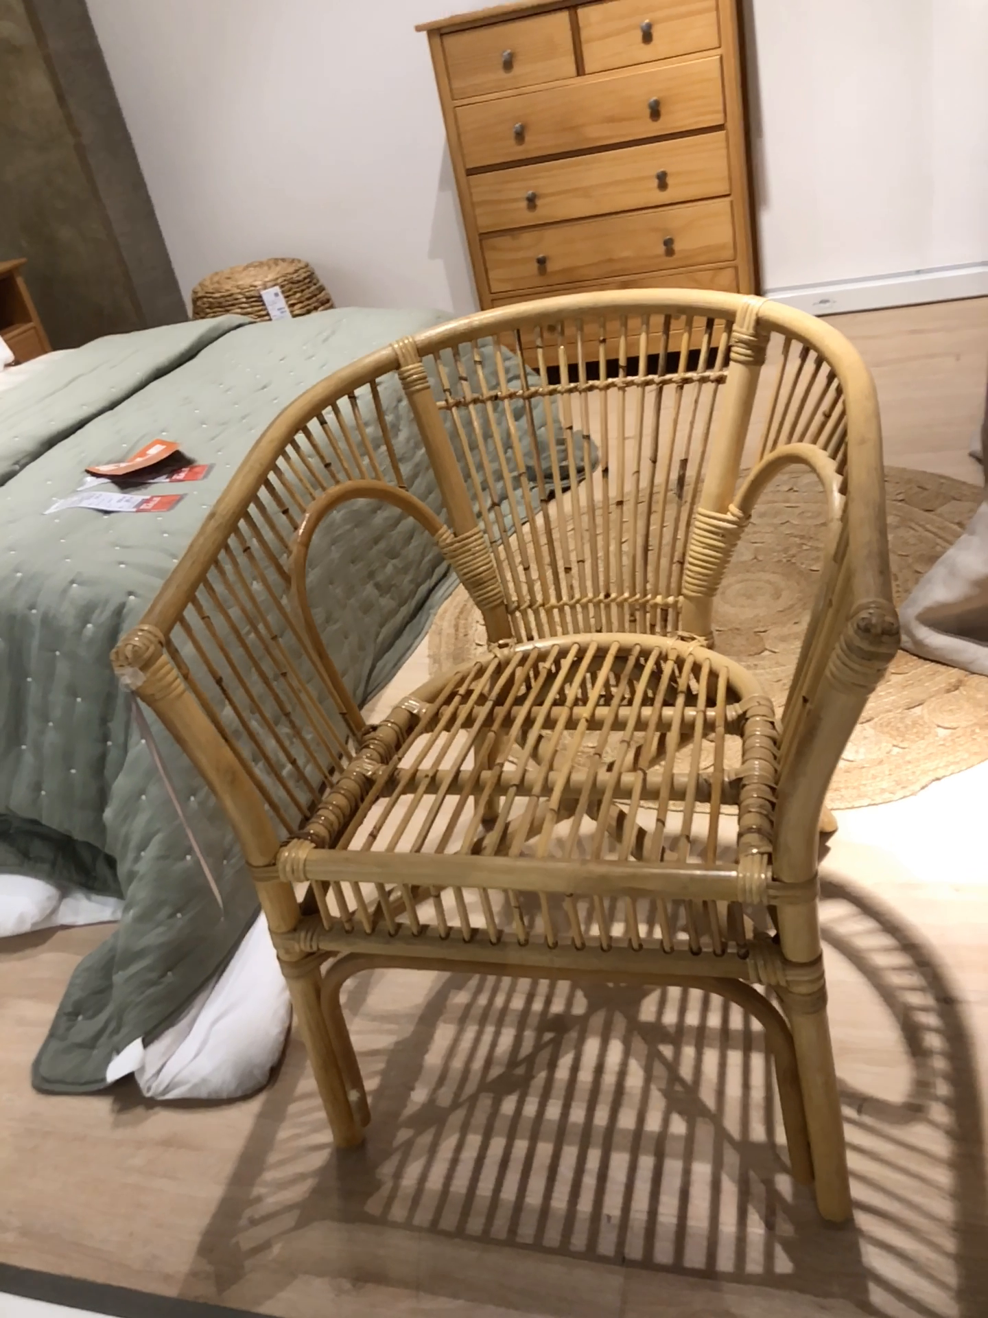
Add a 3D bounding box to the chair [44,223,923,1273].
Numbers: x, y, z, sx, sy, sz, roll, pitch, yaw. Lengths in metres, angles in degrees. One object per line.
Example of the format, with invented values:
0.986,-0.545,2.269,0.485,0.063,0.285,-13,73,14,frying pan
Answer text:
0.111,0.052,1.120,0.590,0.754,0.634,0,32,20,chair
